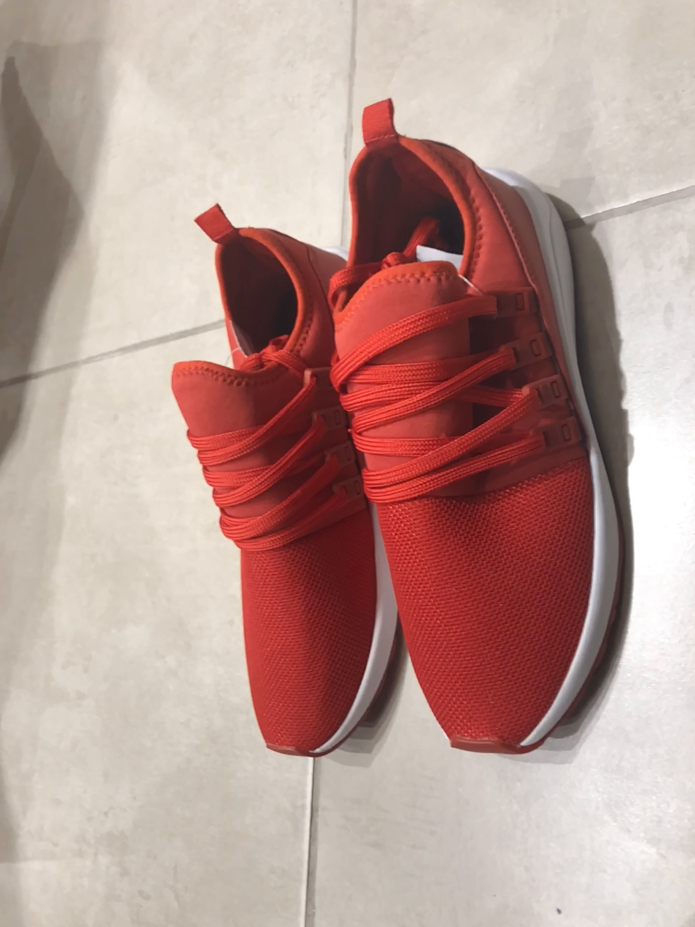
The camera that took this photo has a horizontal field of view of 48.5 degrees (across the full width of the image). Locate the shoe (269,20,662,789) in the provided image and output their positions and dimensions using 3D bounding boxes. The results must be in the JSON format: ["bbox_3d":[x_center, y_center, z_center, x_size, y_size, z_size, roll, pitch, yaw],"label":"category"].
[{"bbox_3d":[0.052,-0.016,0.342,0.100,0.139,0.270,-11,73,38],"label":"shoe"}]

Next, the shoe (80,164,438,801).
[{"bbox_3d":[-0.036,0.014,0.407,0.100,0.139,0.270,-6,76,39],"label":"shoe"}]
